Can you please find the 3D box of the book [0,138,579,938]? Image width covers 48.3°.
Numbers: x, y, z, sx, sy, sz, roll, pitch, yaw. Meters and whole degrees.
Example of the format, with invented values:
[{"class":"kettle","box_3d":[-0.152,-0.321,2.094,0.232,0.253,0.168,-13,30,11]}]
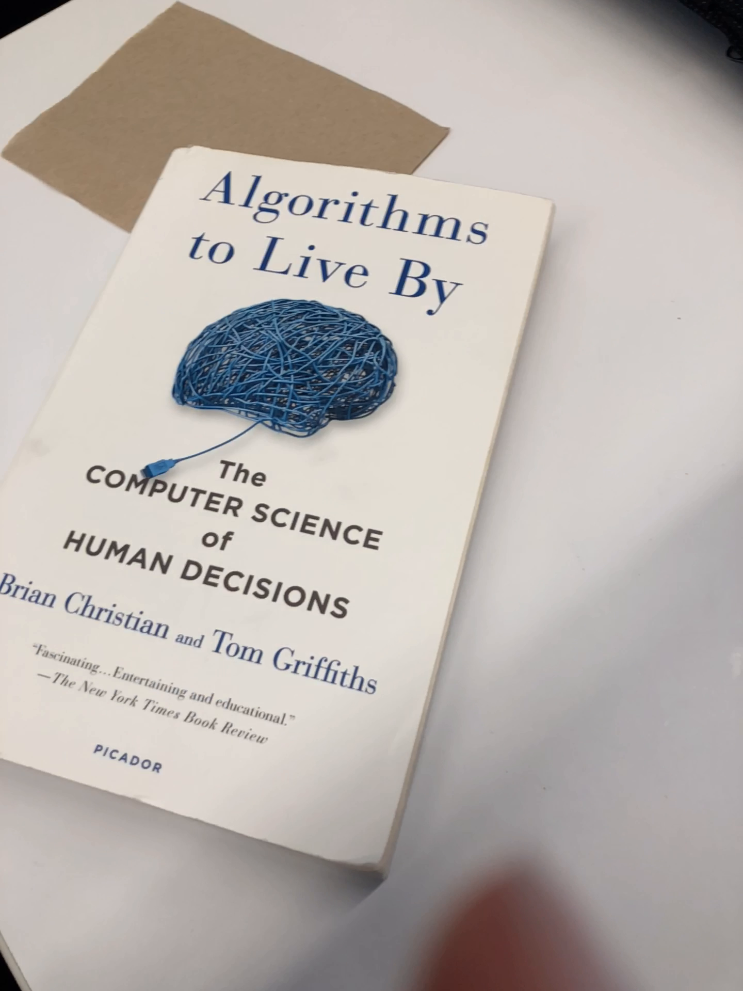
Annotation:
[{"class":"book","box_3d":[-0.038,-0.008,0.258,0.160,0.040,0.220,12,66,11]}]
